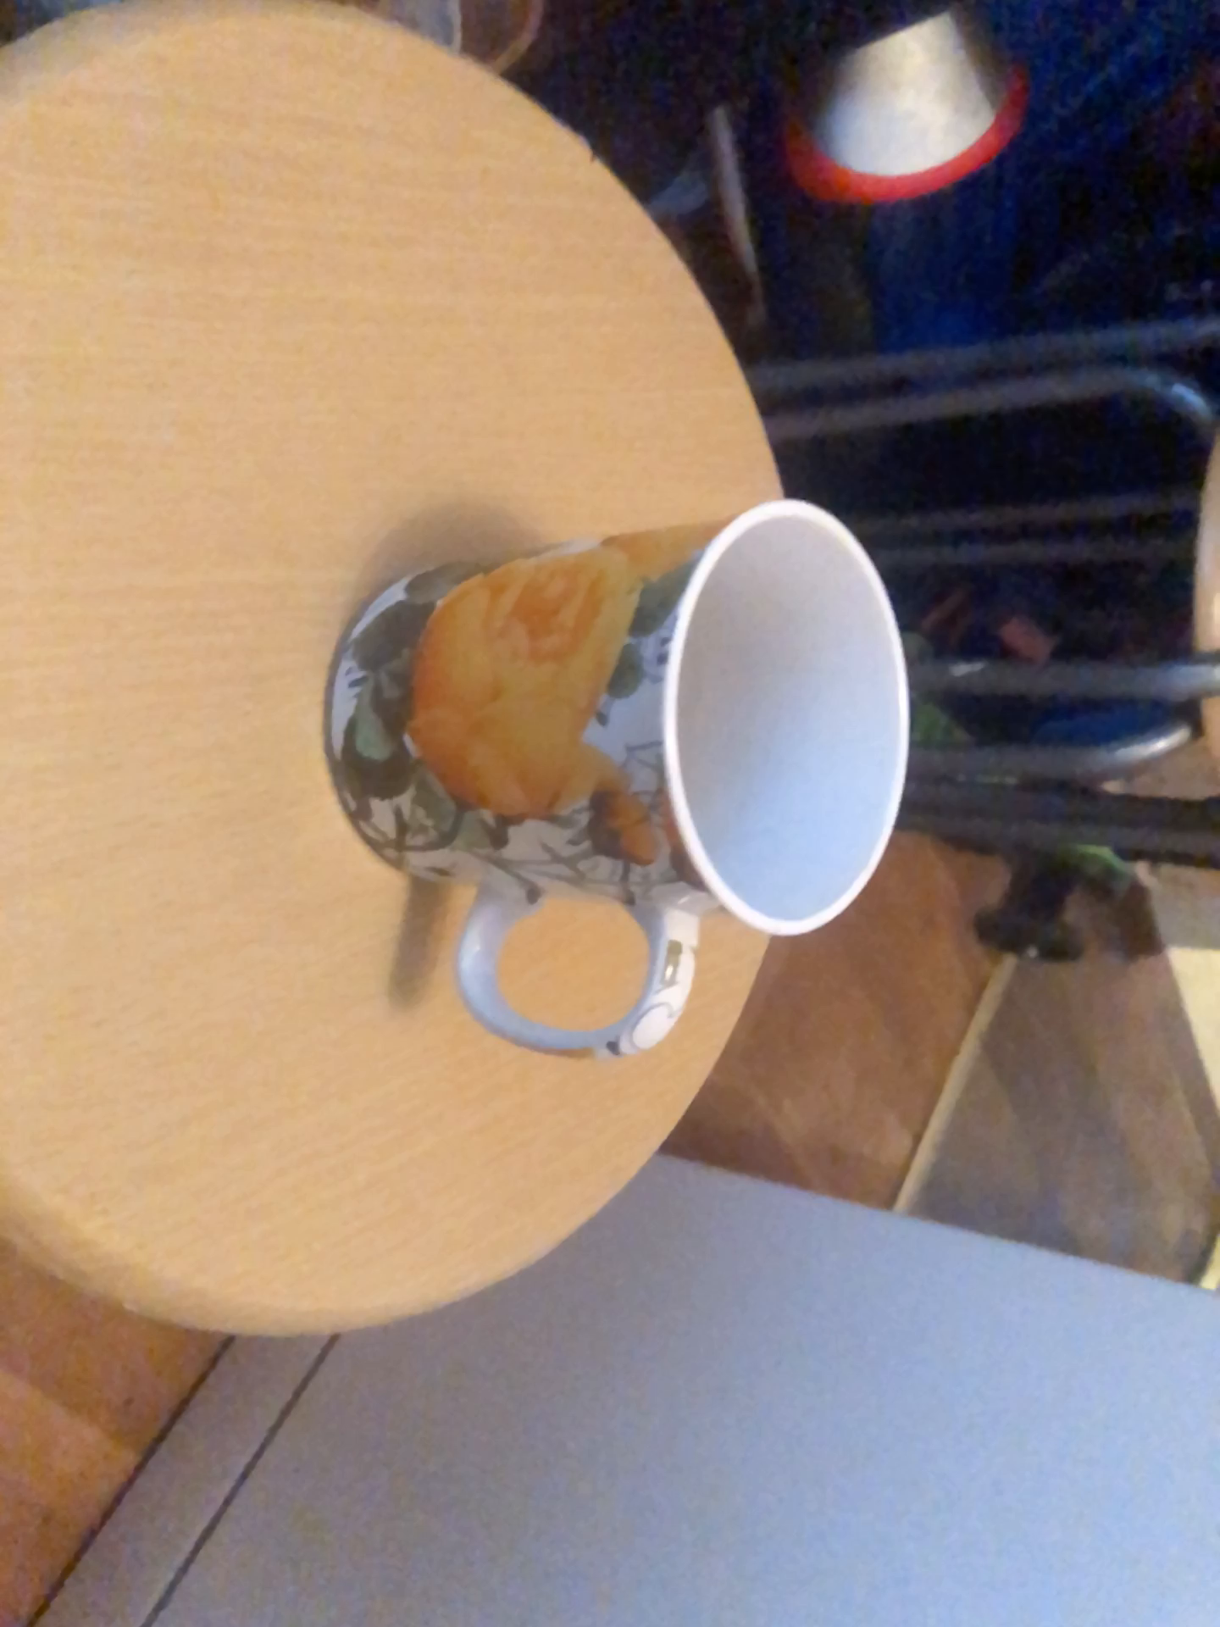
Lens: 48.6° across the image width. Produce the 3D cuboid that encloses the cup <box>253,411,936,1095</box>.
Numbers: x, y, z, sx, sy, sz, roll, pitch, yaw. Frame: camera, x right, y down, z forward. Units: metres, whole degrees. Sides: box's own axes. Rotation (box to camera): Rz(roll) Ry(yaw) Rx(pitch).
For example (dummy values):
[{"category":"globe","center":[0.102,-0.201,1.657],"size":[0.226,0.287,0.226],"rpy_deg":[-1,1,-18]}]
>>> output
[{"category":"cup","center":[-0.002,-0.006,0.277],"size":[0.083,0.097,0.111],"rpy_deg":[14,80,-49]}]
